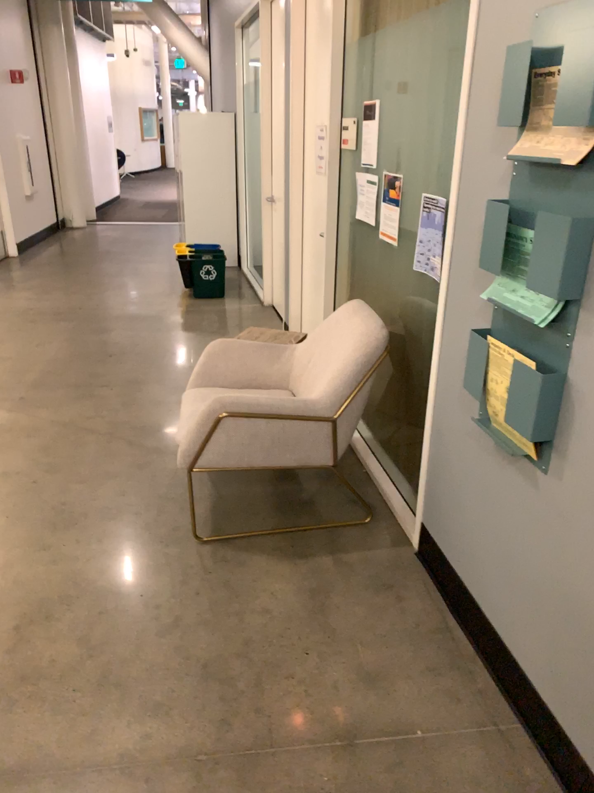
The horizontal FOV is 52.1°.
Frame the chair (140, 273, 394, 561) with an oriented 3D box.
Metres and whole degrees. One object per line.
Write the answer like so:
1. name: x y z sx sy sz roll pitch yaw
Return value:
1. chair: -0.160 0.030 2.599 0.870 0.925 0.784 -3 24 -9
